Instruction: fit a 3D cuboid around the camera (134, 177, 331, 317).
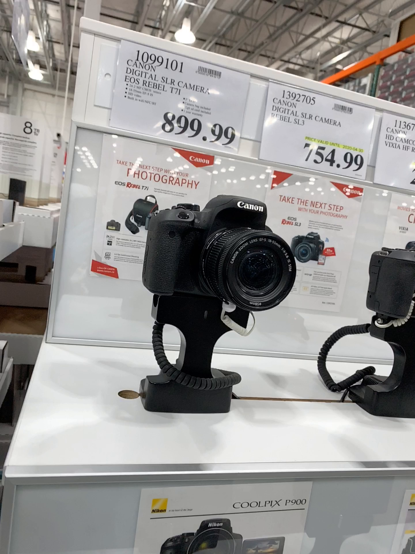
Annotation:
[{"bbox_3d":[0.014,-0.029,0.399,0.132,0.096,0.129,6,7,-20],"label":"camera"}]
